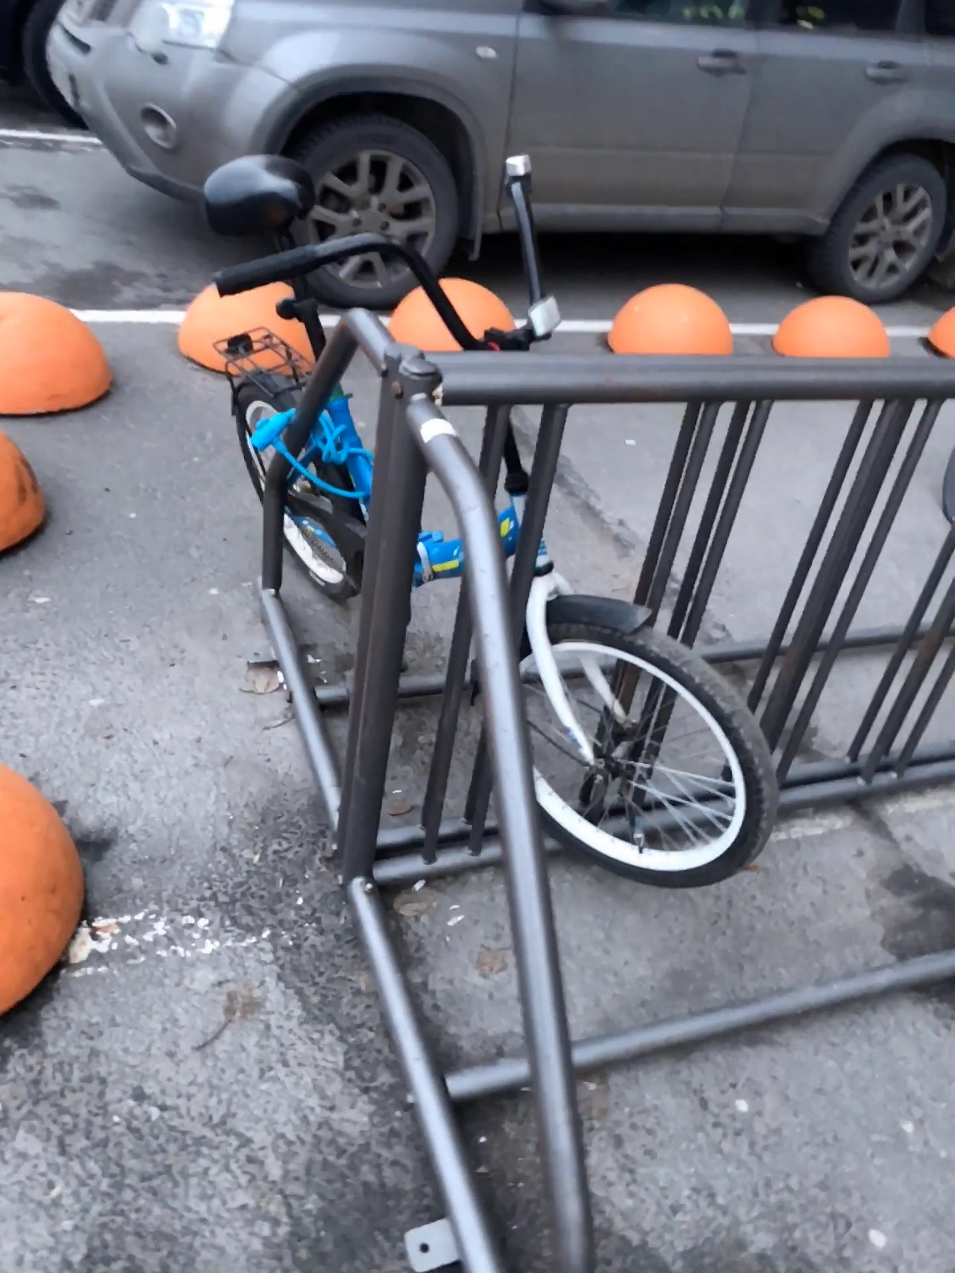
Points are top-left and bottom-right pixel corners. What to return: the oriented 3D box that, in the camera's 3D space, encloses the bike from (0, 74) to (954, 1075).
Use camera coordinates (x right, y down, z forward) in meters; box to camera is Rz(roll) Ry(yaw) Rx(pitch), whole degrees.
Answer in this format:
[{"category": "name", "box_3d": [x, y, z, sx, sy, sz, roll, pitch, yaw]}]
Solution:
[{"category": "bike", "box_3d": [-0.193, -0.285, 1.613, 0.725, 0.992, 1.424, -18, 37, -34]}]
